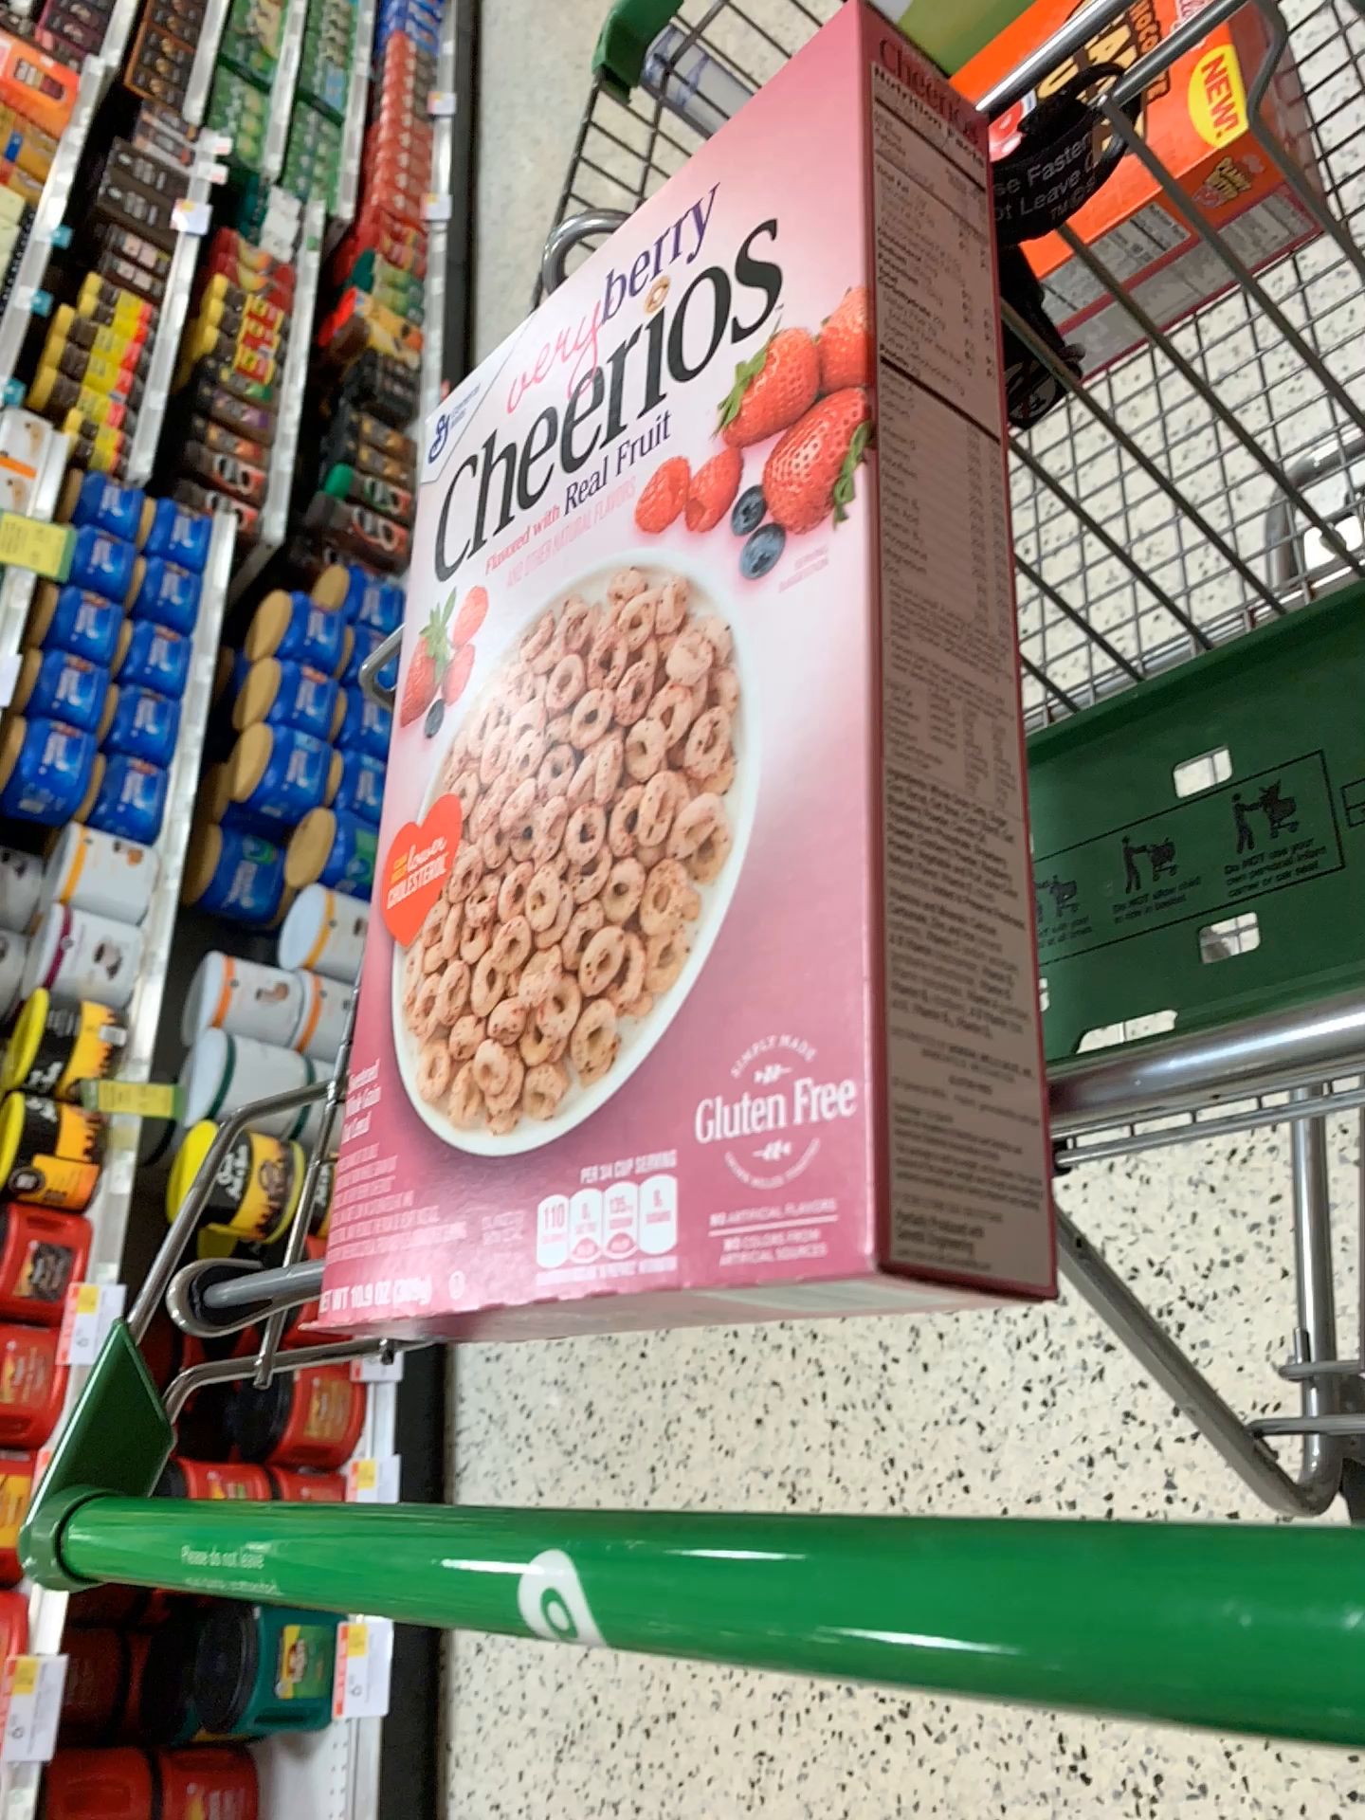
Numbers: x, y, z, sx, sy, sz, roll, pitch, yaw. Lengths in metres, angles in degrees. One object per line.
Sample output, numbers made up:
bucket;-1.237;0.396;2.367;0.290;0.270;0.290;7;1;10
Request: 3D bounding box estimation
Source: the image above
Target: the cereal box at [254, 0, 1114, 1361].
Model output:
cereal box;-0.013;-0.040;0.347;0.211;0.060;0.281;-22;58;47
